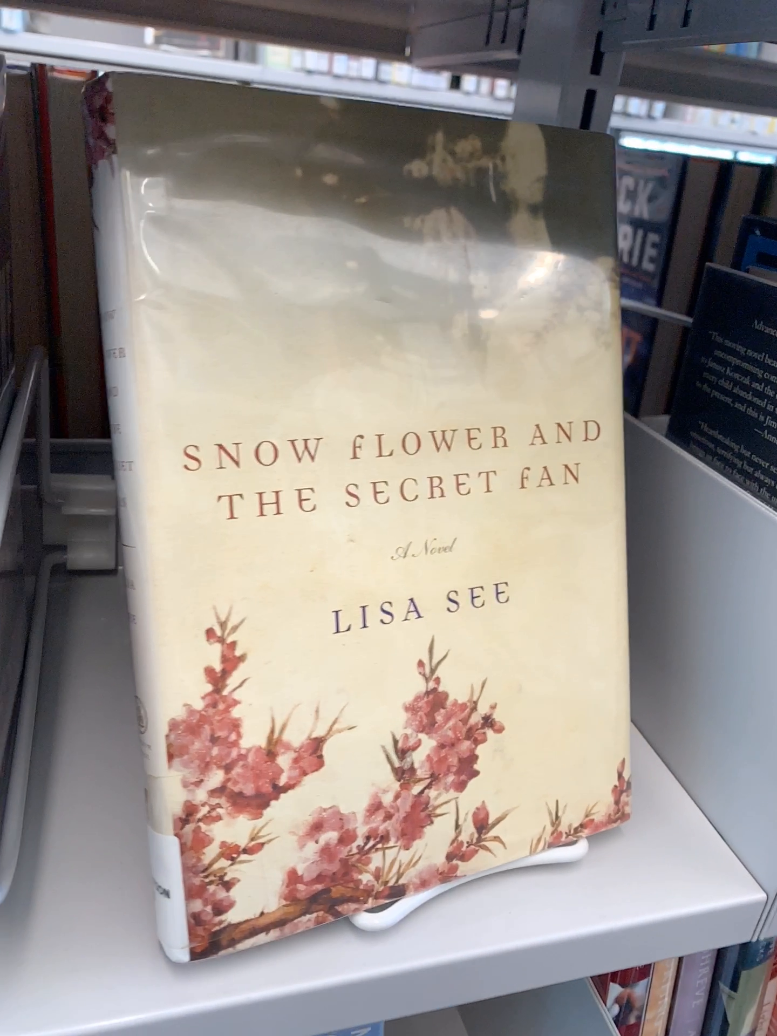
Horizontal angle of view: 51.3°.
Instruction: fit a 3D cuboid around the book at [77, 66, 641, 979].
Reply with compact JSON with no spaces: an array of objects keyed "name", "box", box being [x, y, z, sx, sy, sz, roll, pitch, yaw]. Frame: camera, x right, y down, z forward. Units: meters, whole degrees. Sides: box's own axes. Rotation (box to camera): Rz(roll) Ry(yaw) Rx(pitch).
[{"name":"book","box":[0.001,-0.002,0.256,0.163,0.231,0.041,-6,7,-26]}]
